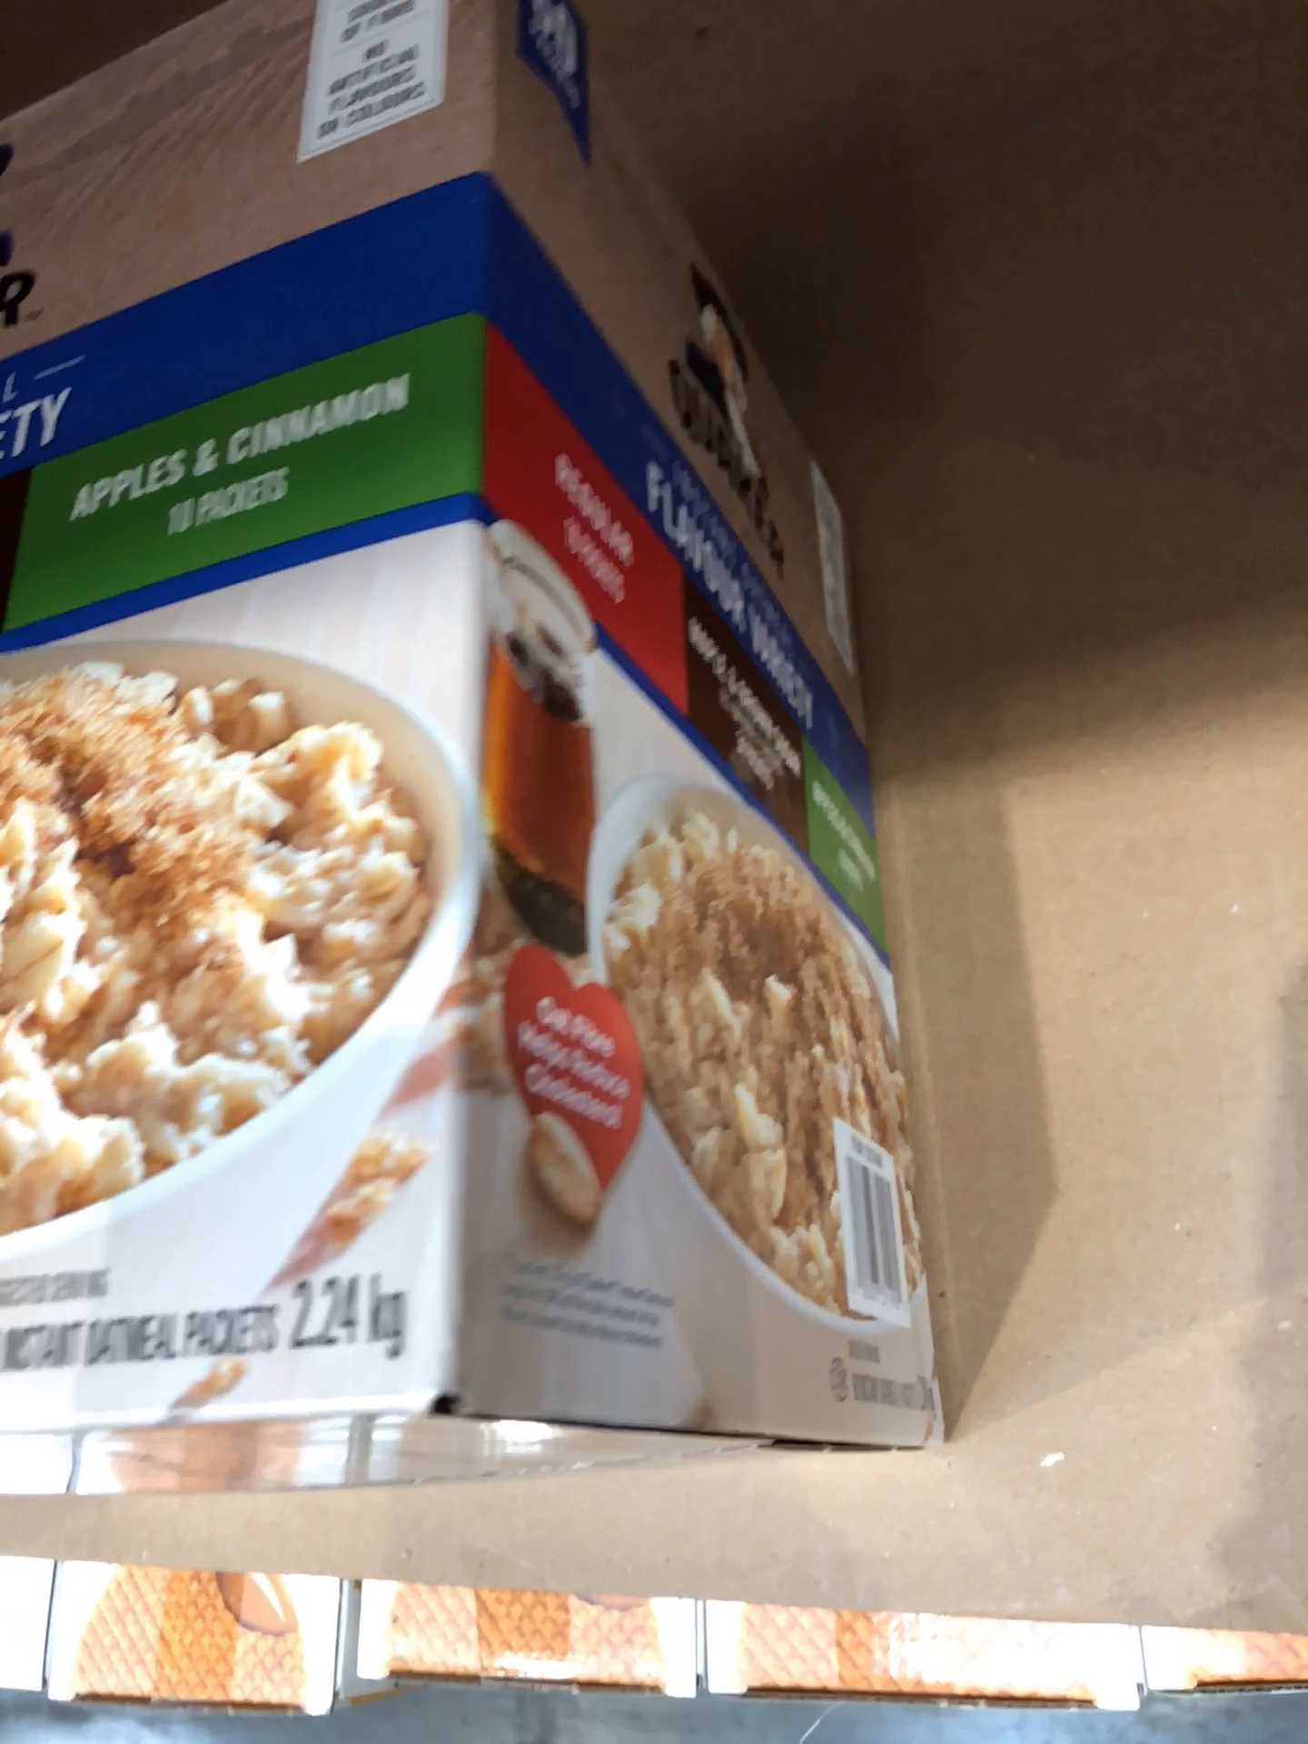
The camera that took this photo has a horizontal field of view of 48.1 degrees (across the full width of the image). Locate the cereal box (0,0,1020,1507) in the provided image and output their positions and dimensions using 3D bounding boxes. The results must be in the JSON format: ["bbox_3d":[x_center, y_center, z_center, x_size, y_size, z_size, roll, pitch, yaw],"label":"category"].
[{"bbox_3d":[-0.079,-0.010,0.314,0.241,0.199,0.260,-12,63,22],"label":"cereal box"}]
